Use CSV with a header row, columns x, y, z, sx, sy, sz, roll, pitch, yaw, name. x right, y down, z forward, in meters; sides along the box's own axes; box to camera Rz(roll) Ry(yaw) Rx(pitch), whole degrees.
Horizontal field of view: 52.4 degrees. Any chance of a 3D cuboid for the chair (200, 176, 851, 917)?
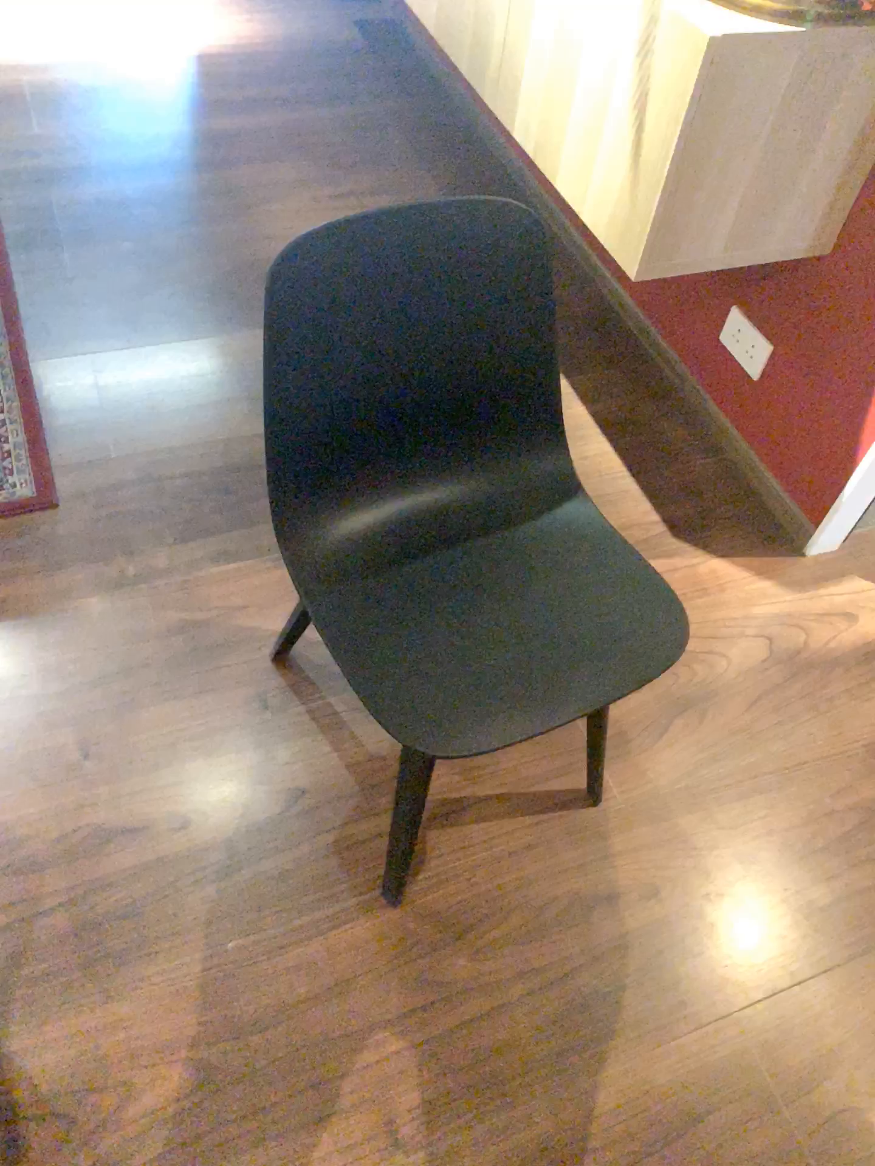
x,y,z,sx,sy,sz,roll,pitch,yaw,name
0.030,-0.019,1.160,0.440,0.718,0.531,-19,57,-21,chair
